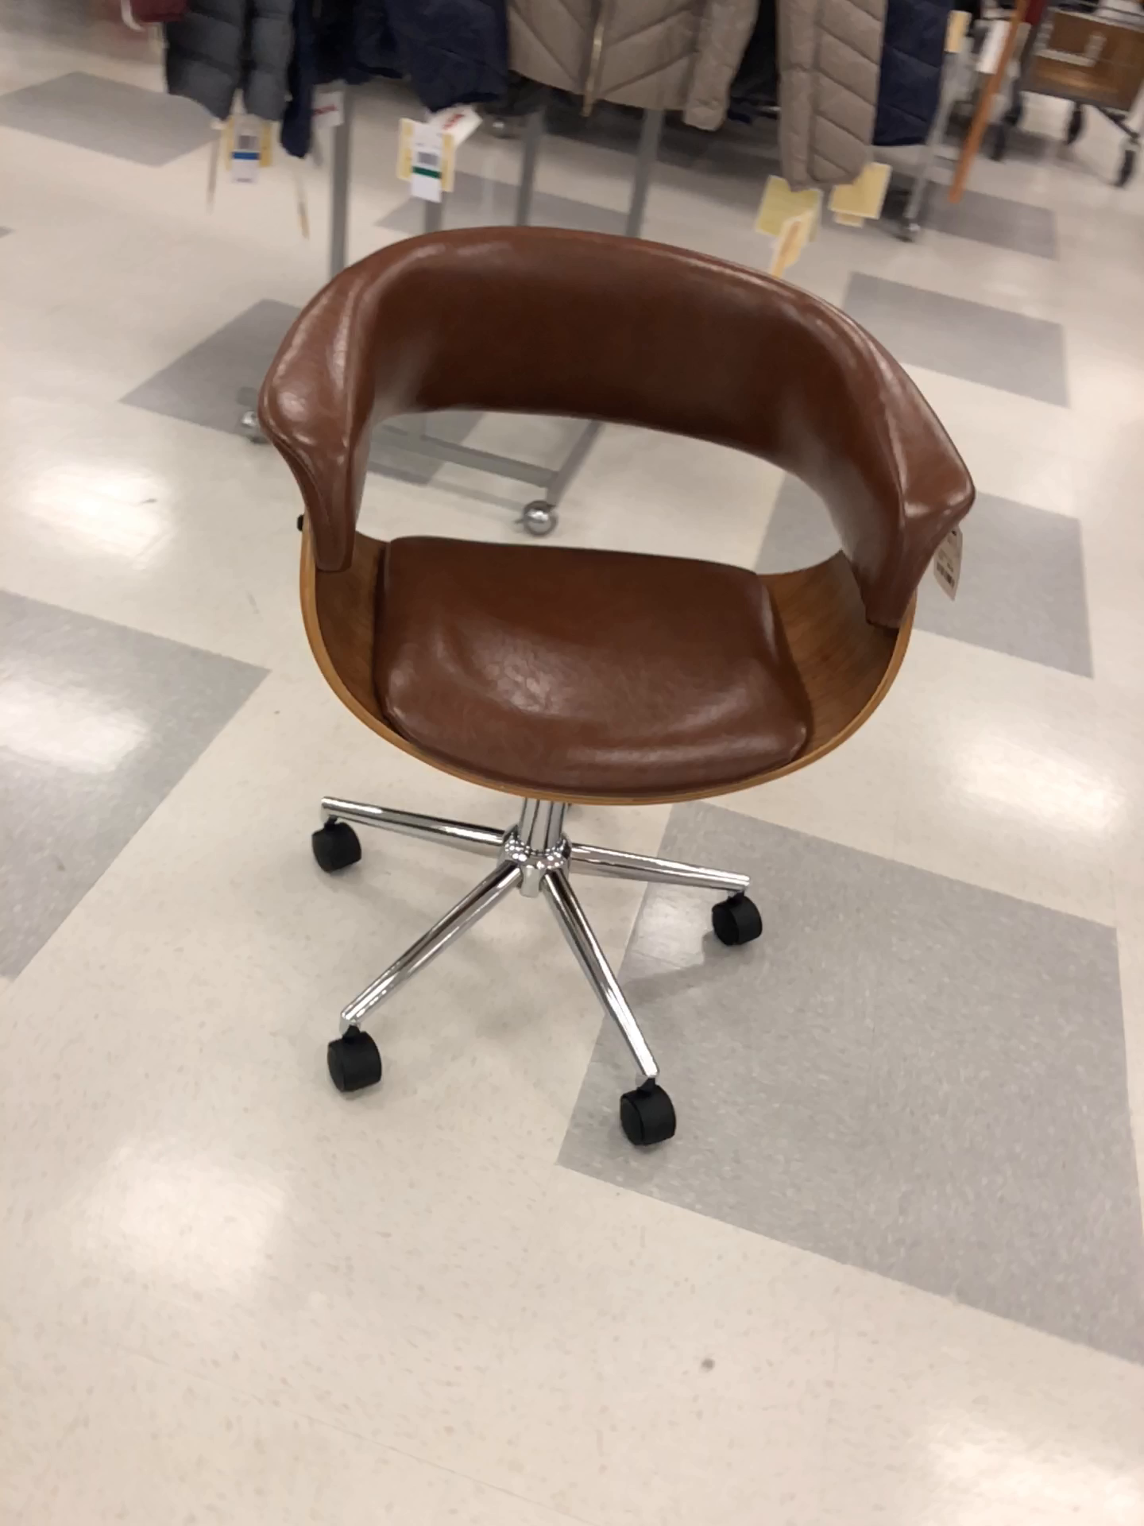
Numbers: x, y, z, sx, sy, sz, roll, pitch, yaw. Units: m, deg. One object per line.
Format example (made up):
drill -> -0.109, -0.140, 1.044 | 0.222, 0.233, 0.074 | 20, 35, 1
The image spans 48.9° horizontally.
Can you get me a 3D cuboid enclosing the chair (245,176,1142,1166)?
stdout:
chair -> 0.022, -0.083, 1.261 | 0.588, 0.696, 0.630 | 5, 40, -8
